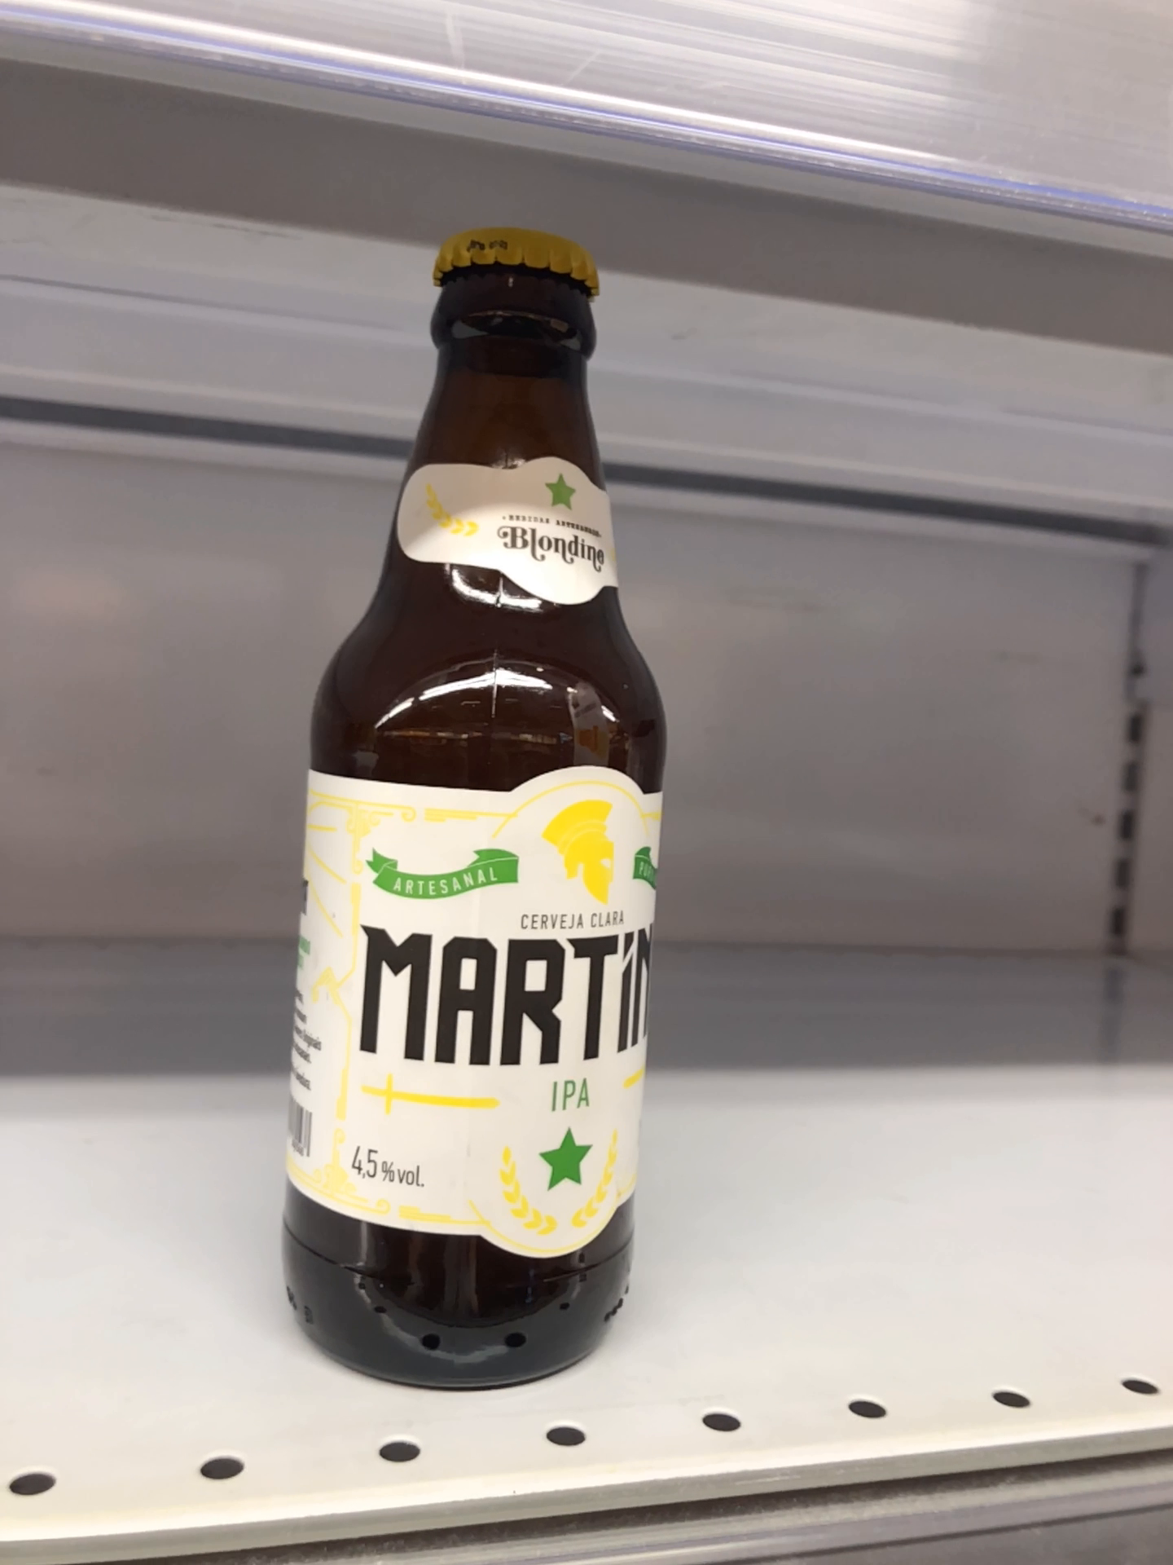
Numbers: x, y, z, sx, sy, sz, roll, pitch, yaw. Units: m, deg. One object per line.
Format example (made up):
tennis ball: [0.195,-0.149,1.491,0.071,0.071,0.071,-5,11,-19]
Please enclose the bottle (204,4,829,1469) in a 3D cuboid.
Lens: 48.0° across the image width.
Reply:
bottle: [-0.013,-0.006,0.216,0.070,0.190,0.060,1,4,-39]
